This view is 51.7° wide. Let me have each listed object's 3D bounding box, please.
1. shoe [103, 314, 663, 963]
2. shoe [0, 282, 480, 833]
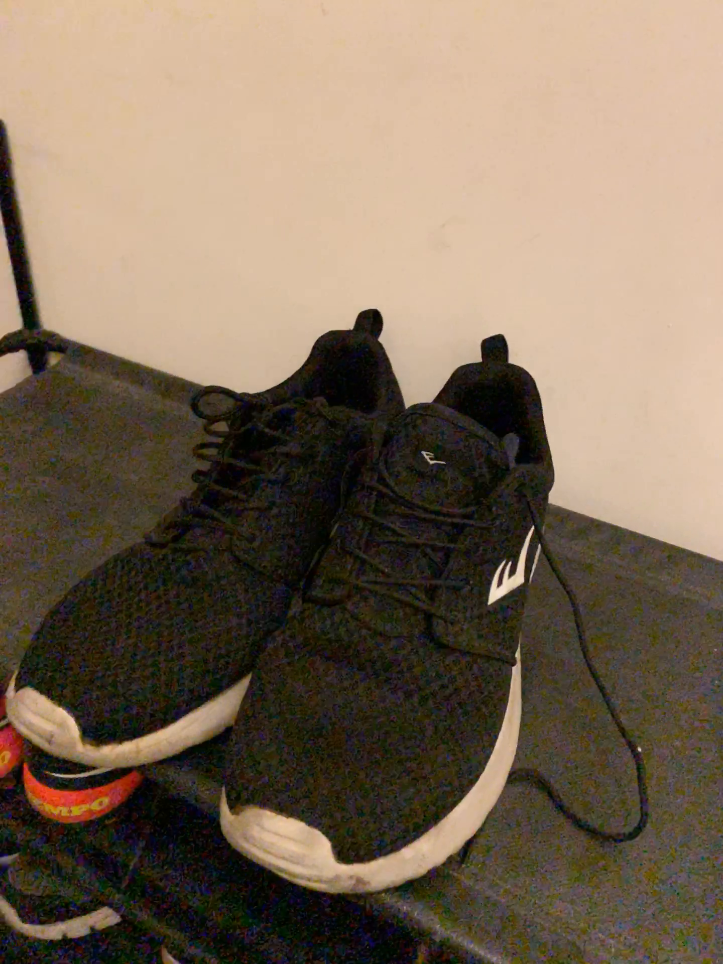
[{"bbox_3d":[0.041,0.031,0.346,0.120,0.099,0.302,19,37,20],"label":"shoe"},{"bbox_3d":[-0.053,0.000,0.382,0.110,0.099,0.302,20,38,22],"label":"shoe"}]
